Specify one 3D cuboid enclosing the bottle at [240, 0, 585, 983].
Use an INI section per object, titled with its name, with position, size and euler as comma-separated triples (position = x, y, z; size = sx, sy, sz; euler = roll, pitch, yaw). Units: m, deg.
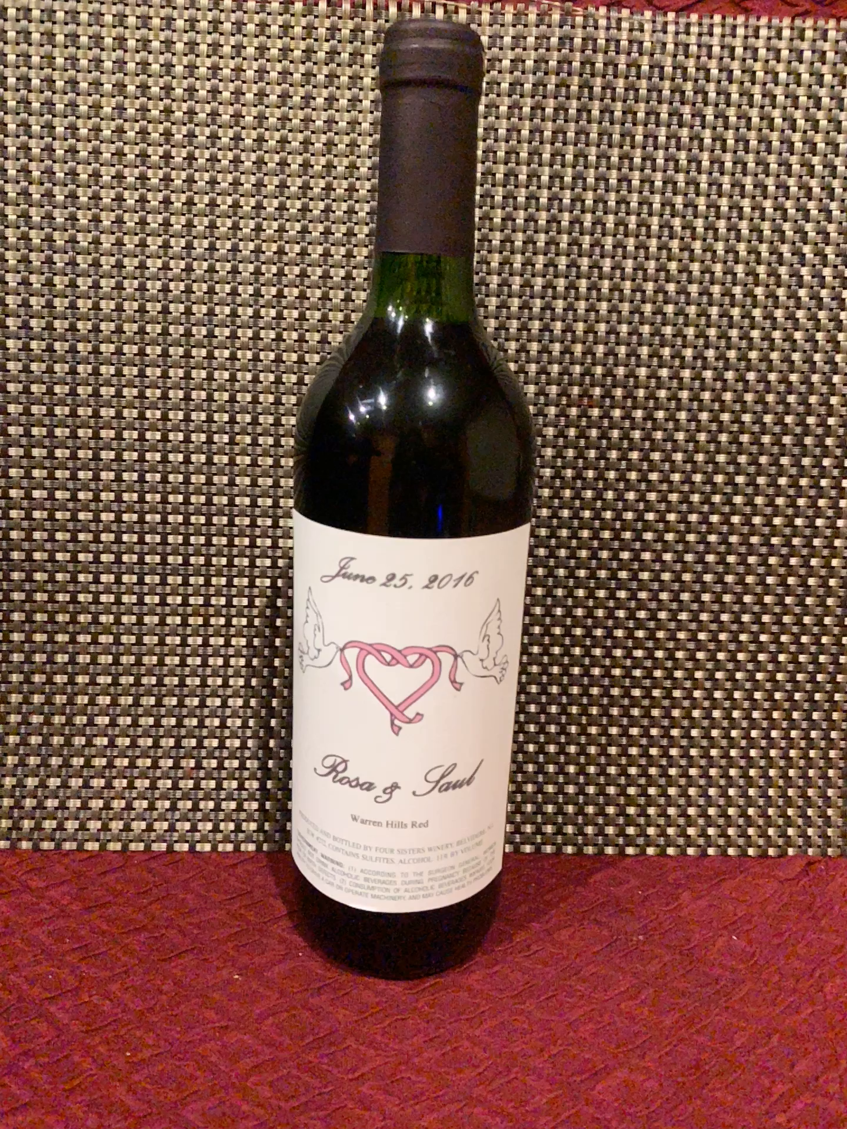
[bottle]
position = -0.008, -0.010, 0.275
size = 0.080, 0.289, 0.060
euler = 3, 18, 1
